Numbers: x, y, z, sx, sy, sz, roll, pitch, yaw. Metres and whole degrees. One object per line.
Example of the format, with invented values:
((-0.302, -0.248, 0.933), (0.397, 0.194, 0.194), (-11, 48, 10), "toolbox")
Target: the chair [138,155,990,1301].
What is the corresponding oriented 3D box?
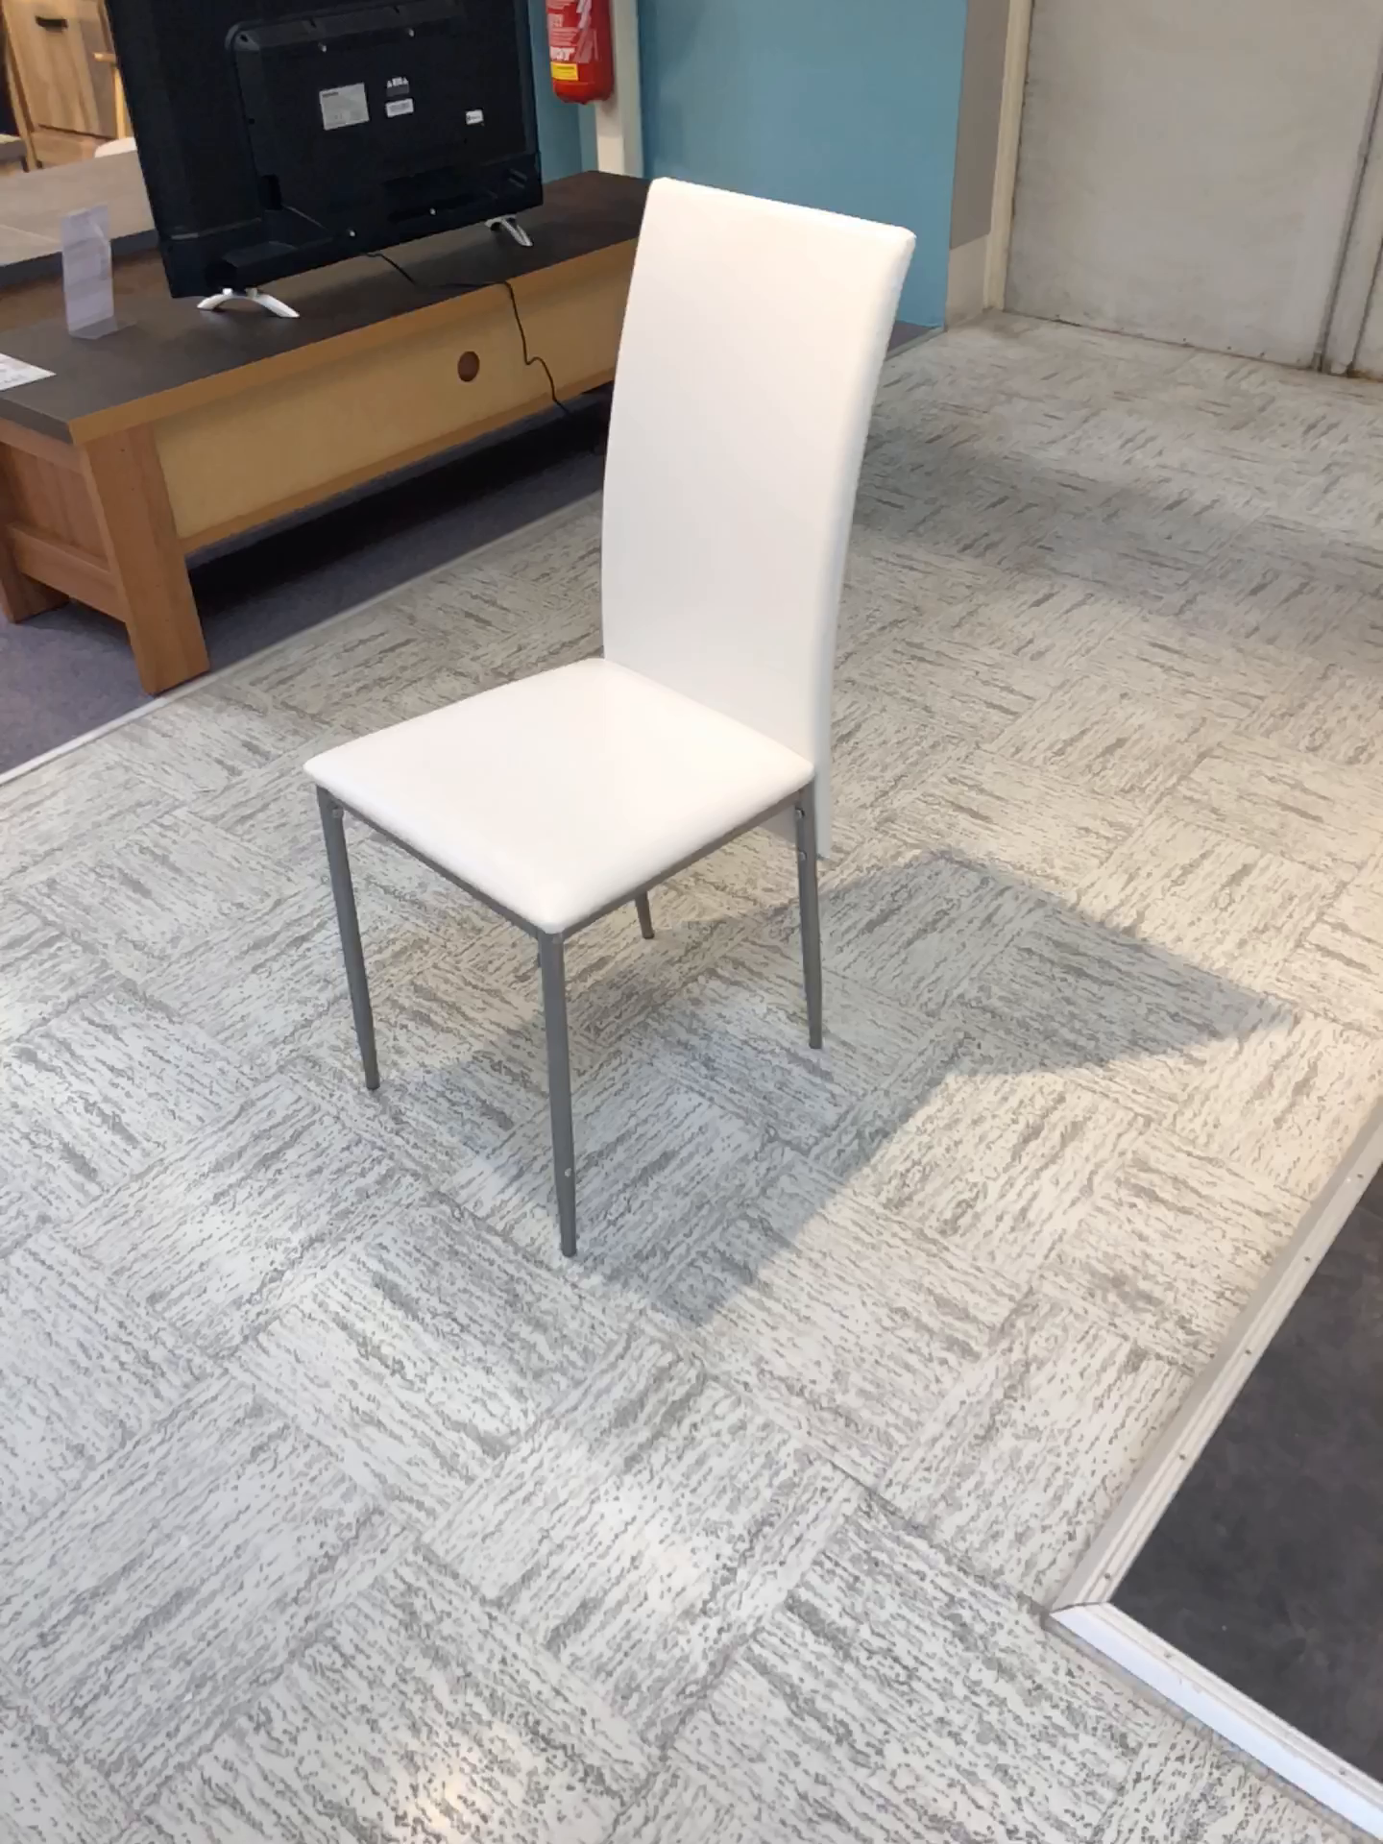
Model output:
((-0.095, -0.202, 1.566), (0.553, 0.944, 0.471), (-30, 46, -32), "chair")
